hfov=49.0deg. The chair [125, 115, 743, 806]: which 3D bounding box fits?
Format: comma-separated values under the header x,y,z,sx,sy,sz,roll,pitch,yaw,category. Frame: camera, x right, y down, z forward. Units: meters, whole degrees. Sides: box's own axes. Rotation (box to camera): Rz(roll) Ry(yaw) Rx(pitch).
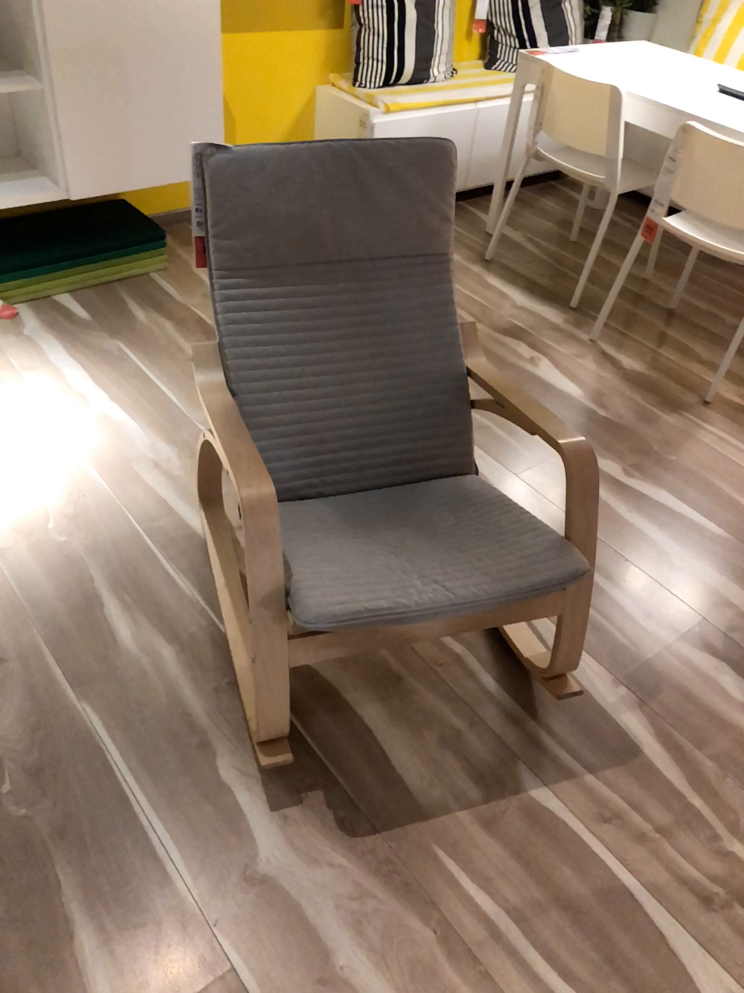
x,y,z,sx,sy,sz,roll,pitch,yaw,category
0.022,-0.092,1.501,0.751,0.943,0.704,-9,42,-18,chair
